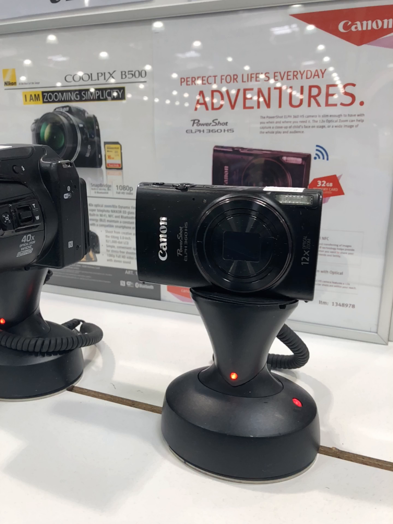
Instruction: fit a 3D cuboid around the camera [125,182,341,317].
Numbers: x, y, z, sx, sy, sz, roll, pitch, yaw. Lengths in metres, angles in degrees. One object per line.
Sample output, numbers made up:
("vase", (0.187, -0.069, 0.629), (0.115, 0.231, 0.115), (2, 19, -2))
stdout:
("camera", (0.020, -0.012, 0.246), (0.110, 0.060, 0.040), (5, 16, 18))
